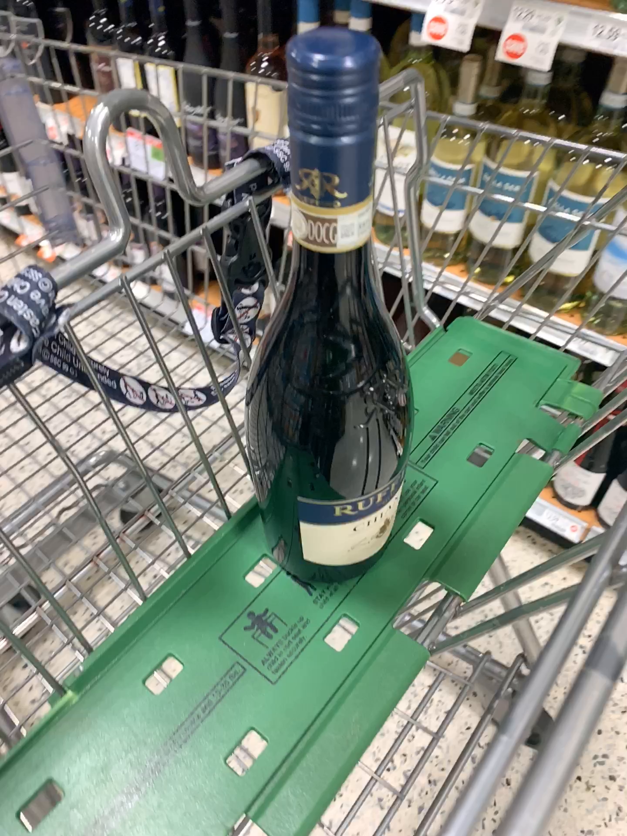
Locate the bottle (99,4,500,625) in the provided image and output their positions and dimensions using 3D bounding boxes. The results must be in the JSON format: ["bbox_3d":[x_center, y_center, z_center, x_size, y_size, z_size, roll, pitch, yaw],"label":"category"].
[{"bbox_3d":[-0.001,-0.022,0.303,0.090,0.267,0.091,-1,48,1],"label":"bottle"}]
